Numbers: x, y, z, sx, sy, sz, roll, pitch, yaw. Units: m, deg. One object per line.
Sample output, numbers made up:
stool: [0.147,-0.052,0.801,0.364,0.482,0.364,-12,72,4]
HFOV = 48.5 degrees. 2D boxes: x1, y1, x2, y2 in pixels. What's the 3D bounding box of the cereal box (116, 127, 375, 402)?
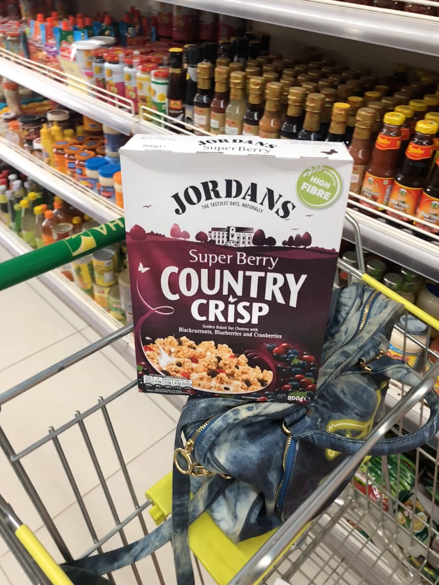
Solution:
cereal box: [0.014,-0.014,0.418,0.180,0.229,0.050,3,31,0]
